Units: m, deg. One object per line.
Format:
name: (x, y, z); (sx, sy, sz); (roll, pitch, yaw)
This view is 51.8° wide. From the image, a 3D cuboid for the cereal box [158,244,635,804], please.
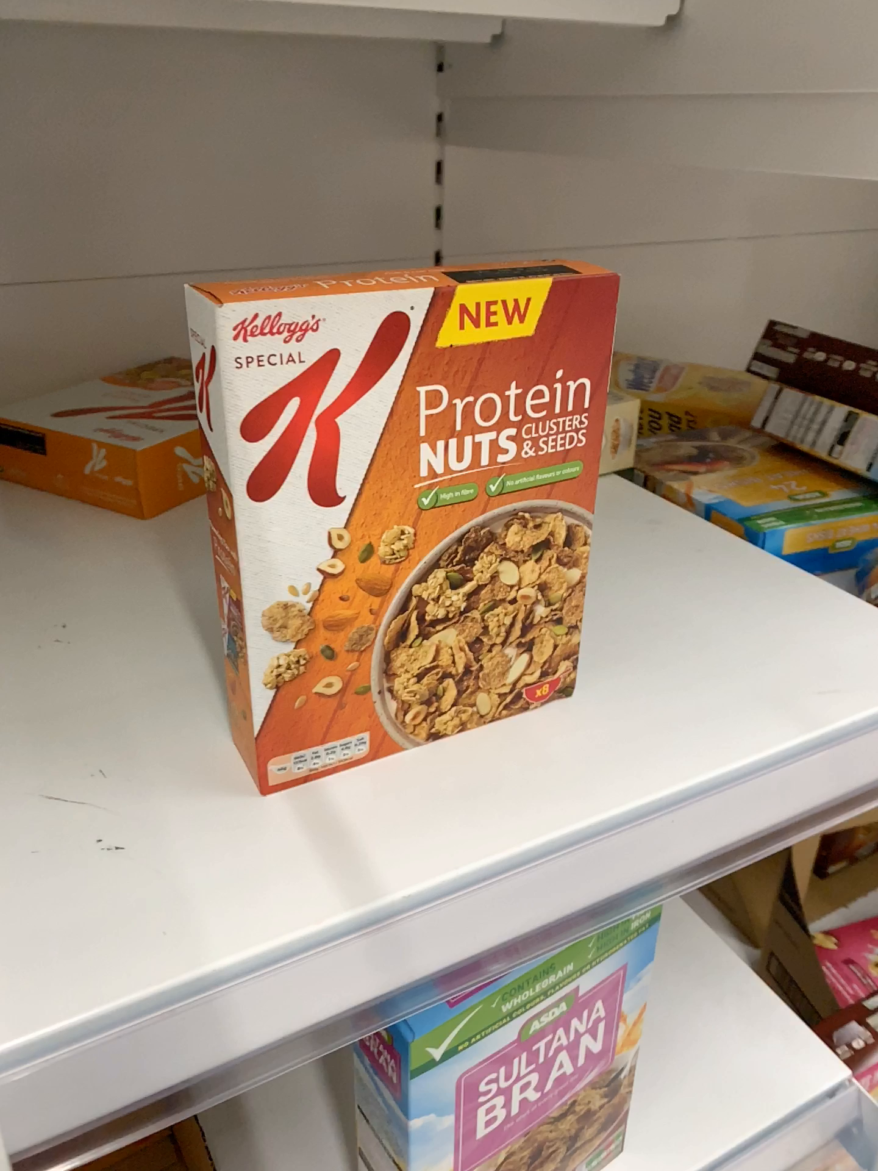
cereal box: (-0.016, -0.036, 0.454); (0.201, 0.238, 0.070); (-13, 30, -25)
